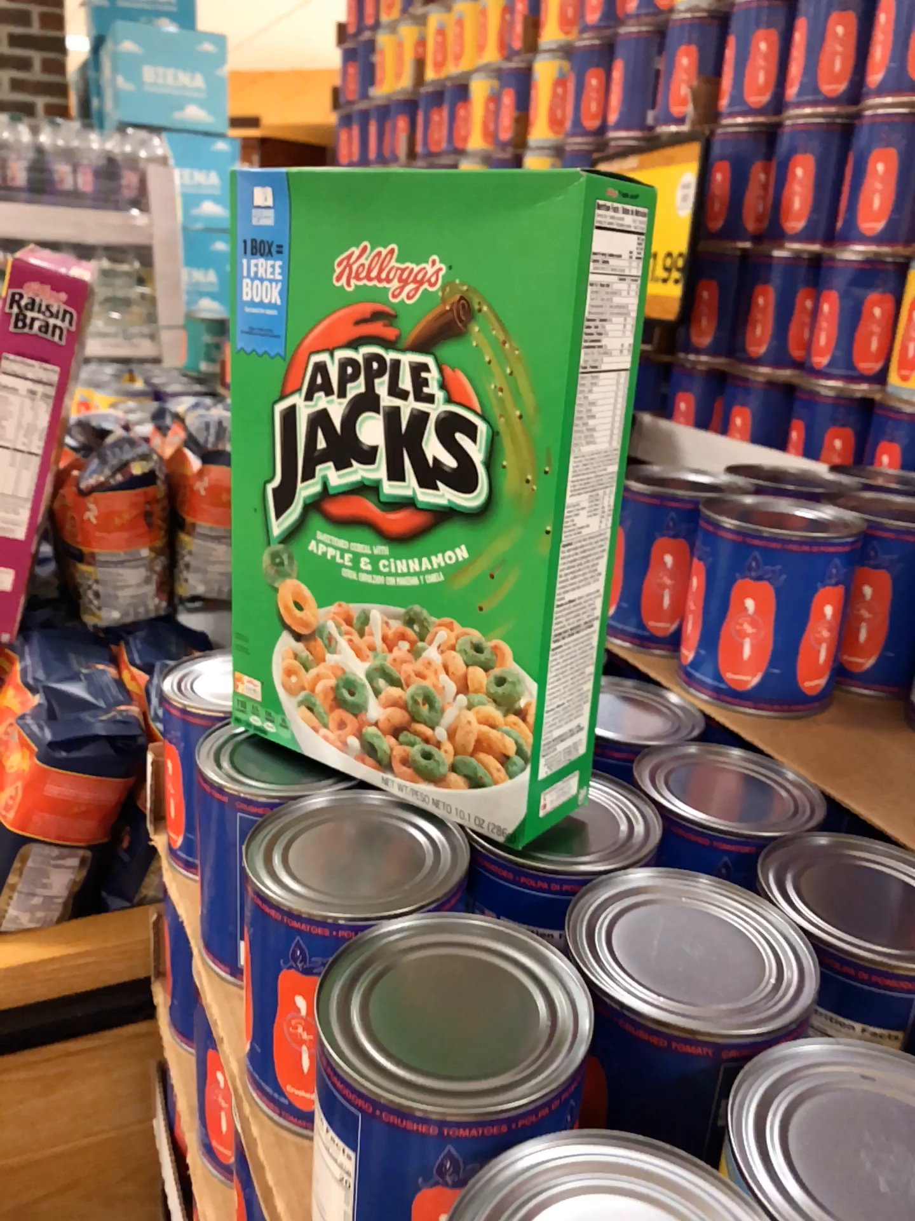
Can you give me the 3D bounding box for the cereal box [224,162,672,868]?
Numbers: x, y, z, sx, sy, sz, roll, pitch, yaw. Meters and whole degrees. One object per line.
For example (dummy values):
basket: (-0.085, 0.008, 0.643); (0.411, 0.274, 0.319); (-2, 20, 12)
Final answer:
cereal box: (-0.021, -0.054, 0.484); (0.200, 0.288, 0.060); (17, 22, 34)
